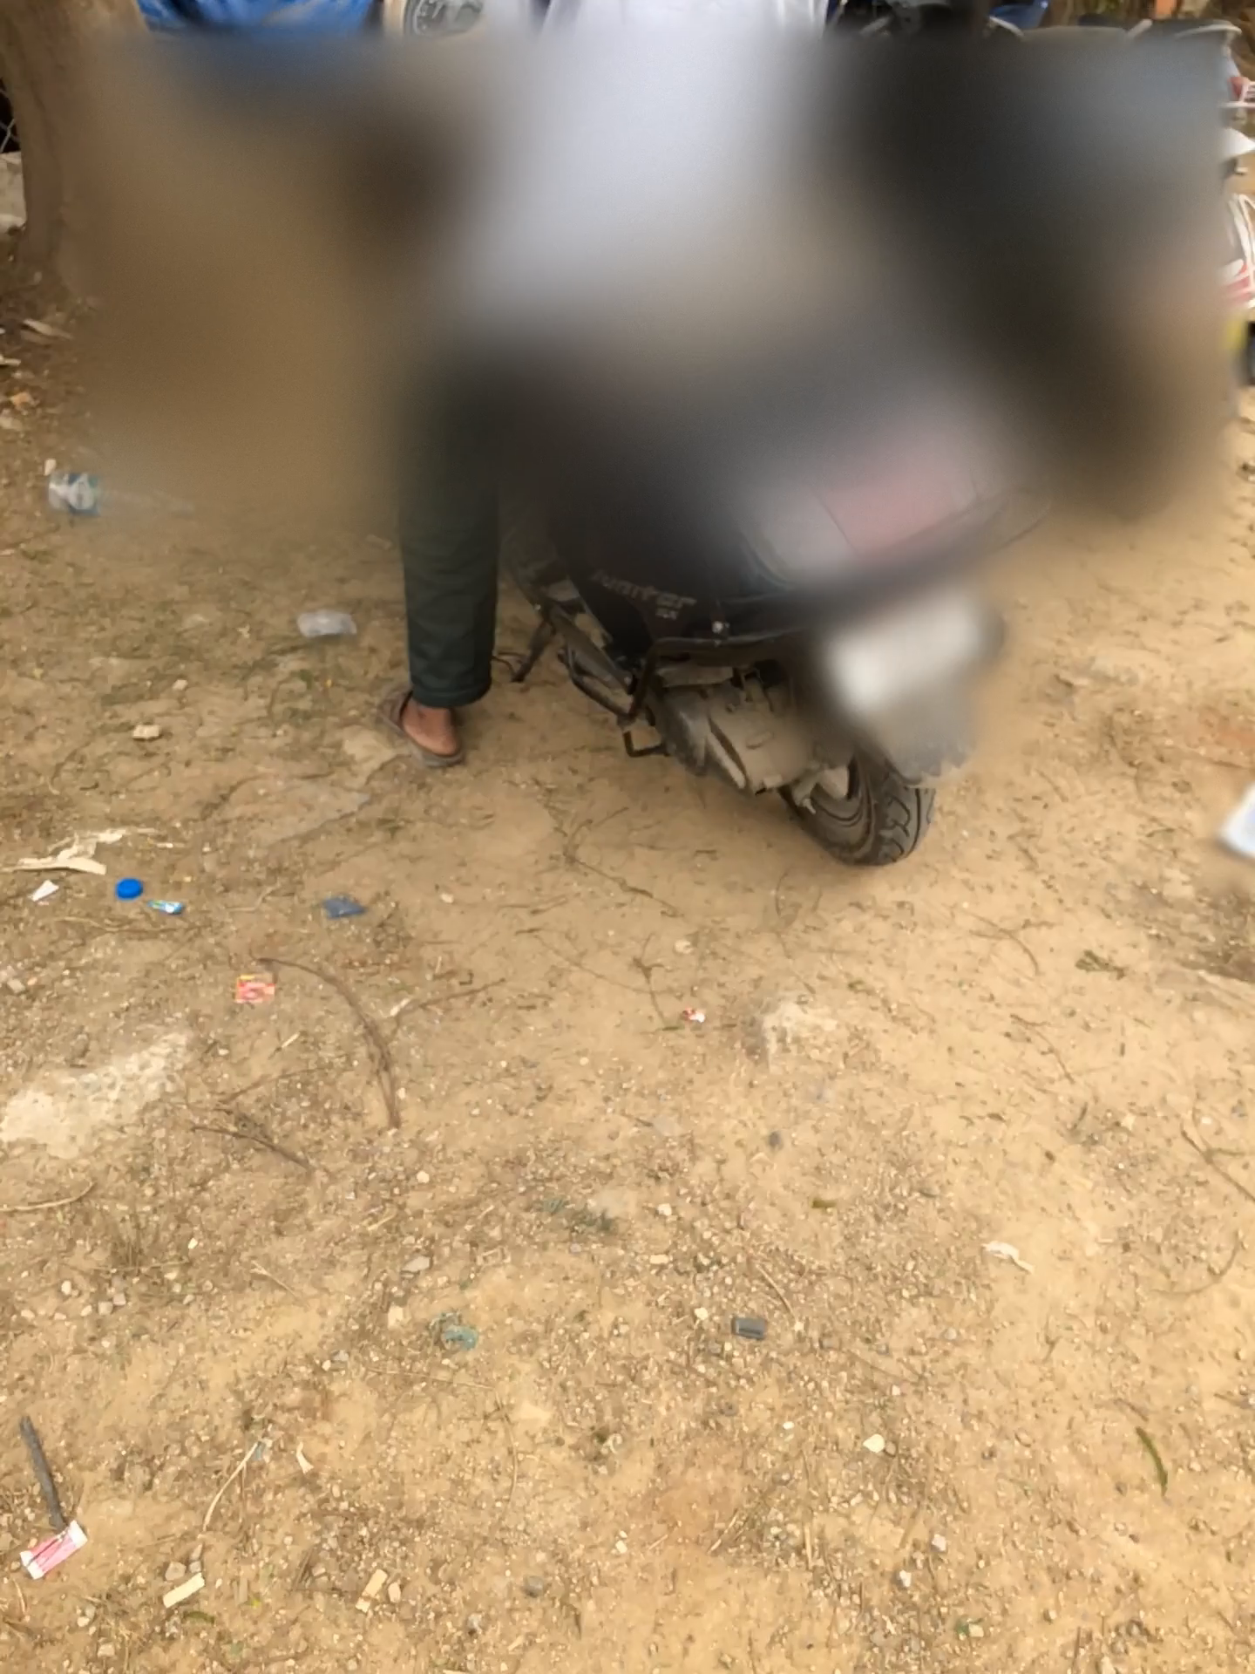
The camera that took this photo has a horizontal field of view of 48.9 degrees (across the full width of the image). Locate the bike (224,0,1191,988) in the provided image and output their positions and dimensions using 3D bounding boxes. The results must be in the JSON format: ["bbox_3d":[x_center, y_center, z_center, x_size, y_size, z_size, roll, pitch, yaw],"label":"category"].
[{"bbox_3d":[-0.023,-0.808,1.982,0.636,1.119,1.347,-13,43,-22],"label":"bike"}]
